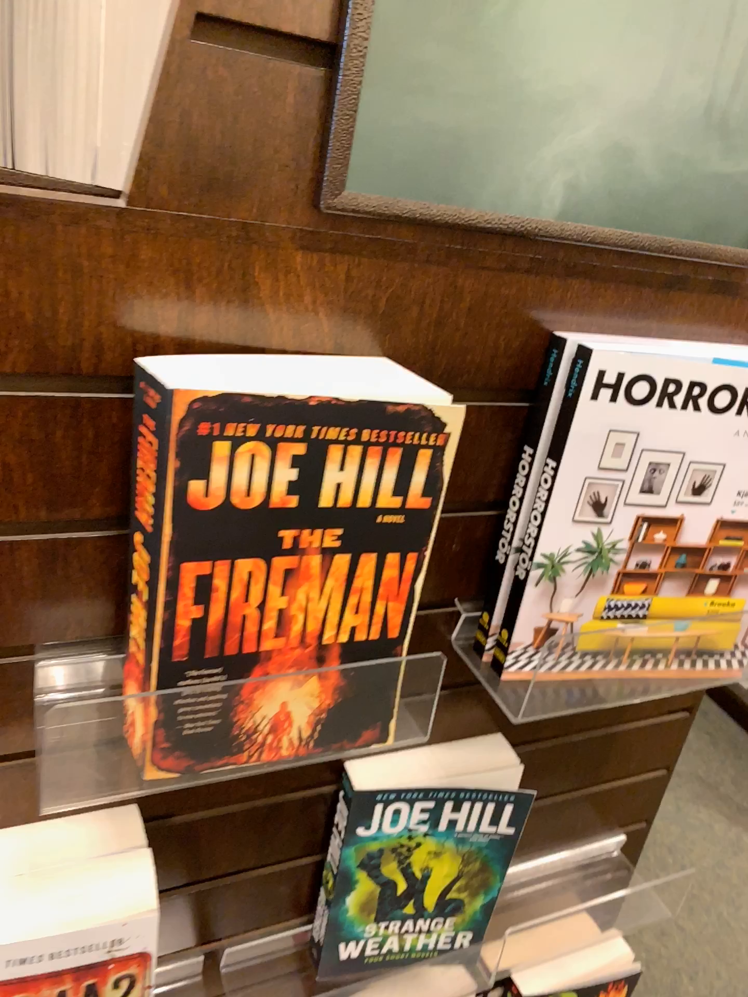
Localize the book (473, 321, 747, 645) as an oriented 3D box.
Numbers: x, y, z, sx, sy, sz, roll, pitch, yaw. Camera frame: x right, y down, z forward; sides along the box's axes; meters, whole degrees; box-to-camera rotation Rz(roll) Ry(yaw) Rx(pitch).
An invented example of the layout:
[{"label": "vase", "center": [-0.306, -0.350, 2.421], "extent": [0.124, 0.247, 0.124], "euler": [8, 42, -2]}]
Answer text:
[{"label": "book", "center": [0.177, 0.000, 0.507], "extent": [0.188, 0.208, 0.026], "euler": [3, 23, -16]}]

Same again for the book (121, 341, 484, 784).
[{"label": "book", "center": [-0.044, 0.029, 0.387], "extent": [0.147, 0.193, 0.070], "euler": [-2, 25, -25]}]

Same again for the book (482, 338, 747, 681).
[{"label": "book", "center": [0.179, 0.017, 0.475], "extent": [0.188, 0.208, 0.026], "euler": [3, 23, -16]}]

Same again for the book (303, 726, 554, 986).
[{"label": "book", "center": [0.038, 0.290, 0.631], "extent": [0.159, 0.201, 0.062], "euler": [3, 23, -16]}]
